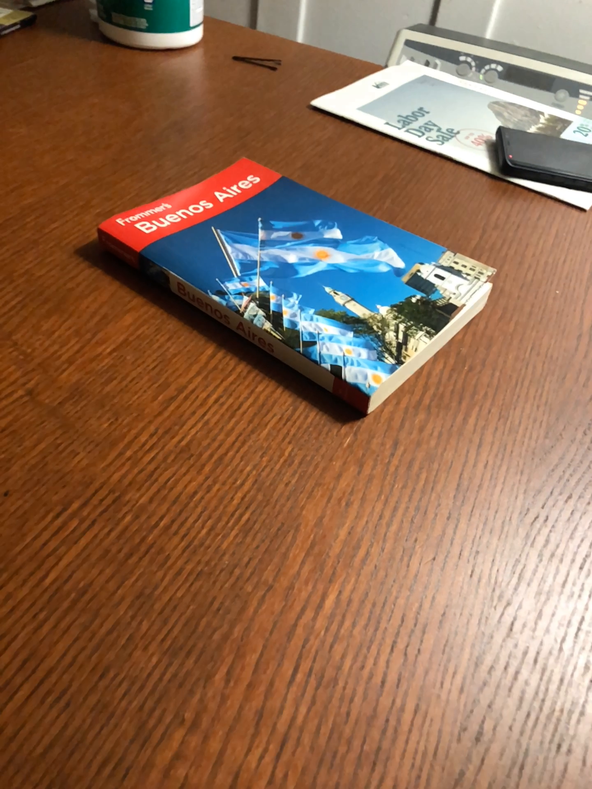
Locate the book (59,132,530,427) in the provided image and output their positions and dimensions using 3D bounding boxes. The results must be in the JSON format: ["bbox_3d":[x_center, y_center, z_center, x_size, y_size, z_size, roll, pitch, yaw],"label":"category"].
[{"bbox_3d":[0.001,-0.086,0.383,0.220,0.020,0.161,31,48,22],"label":"book"}]
